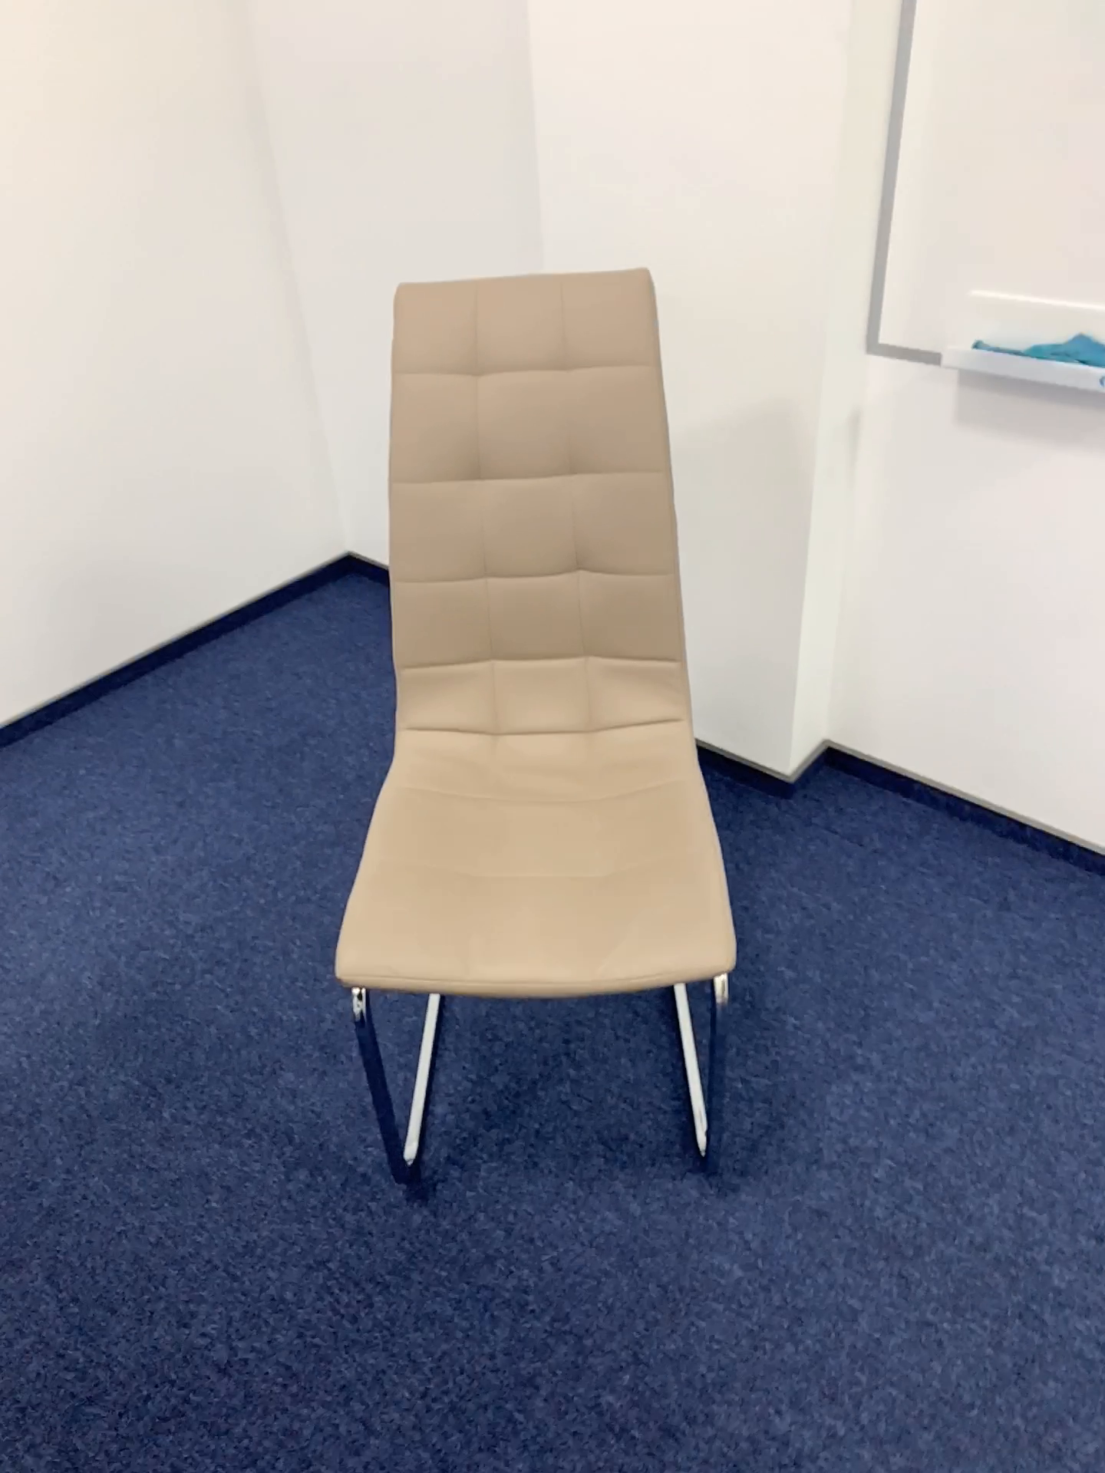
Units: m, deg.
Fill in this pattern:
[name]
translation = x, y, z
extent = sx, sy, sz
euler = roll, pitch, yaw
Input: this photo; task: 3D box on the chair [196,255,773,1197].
[chair]
translation = -0.026, 0.019, 1.362
extent = 0.440, 0.984, 0.533
euler = -3, 36, 2
